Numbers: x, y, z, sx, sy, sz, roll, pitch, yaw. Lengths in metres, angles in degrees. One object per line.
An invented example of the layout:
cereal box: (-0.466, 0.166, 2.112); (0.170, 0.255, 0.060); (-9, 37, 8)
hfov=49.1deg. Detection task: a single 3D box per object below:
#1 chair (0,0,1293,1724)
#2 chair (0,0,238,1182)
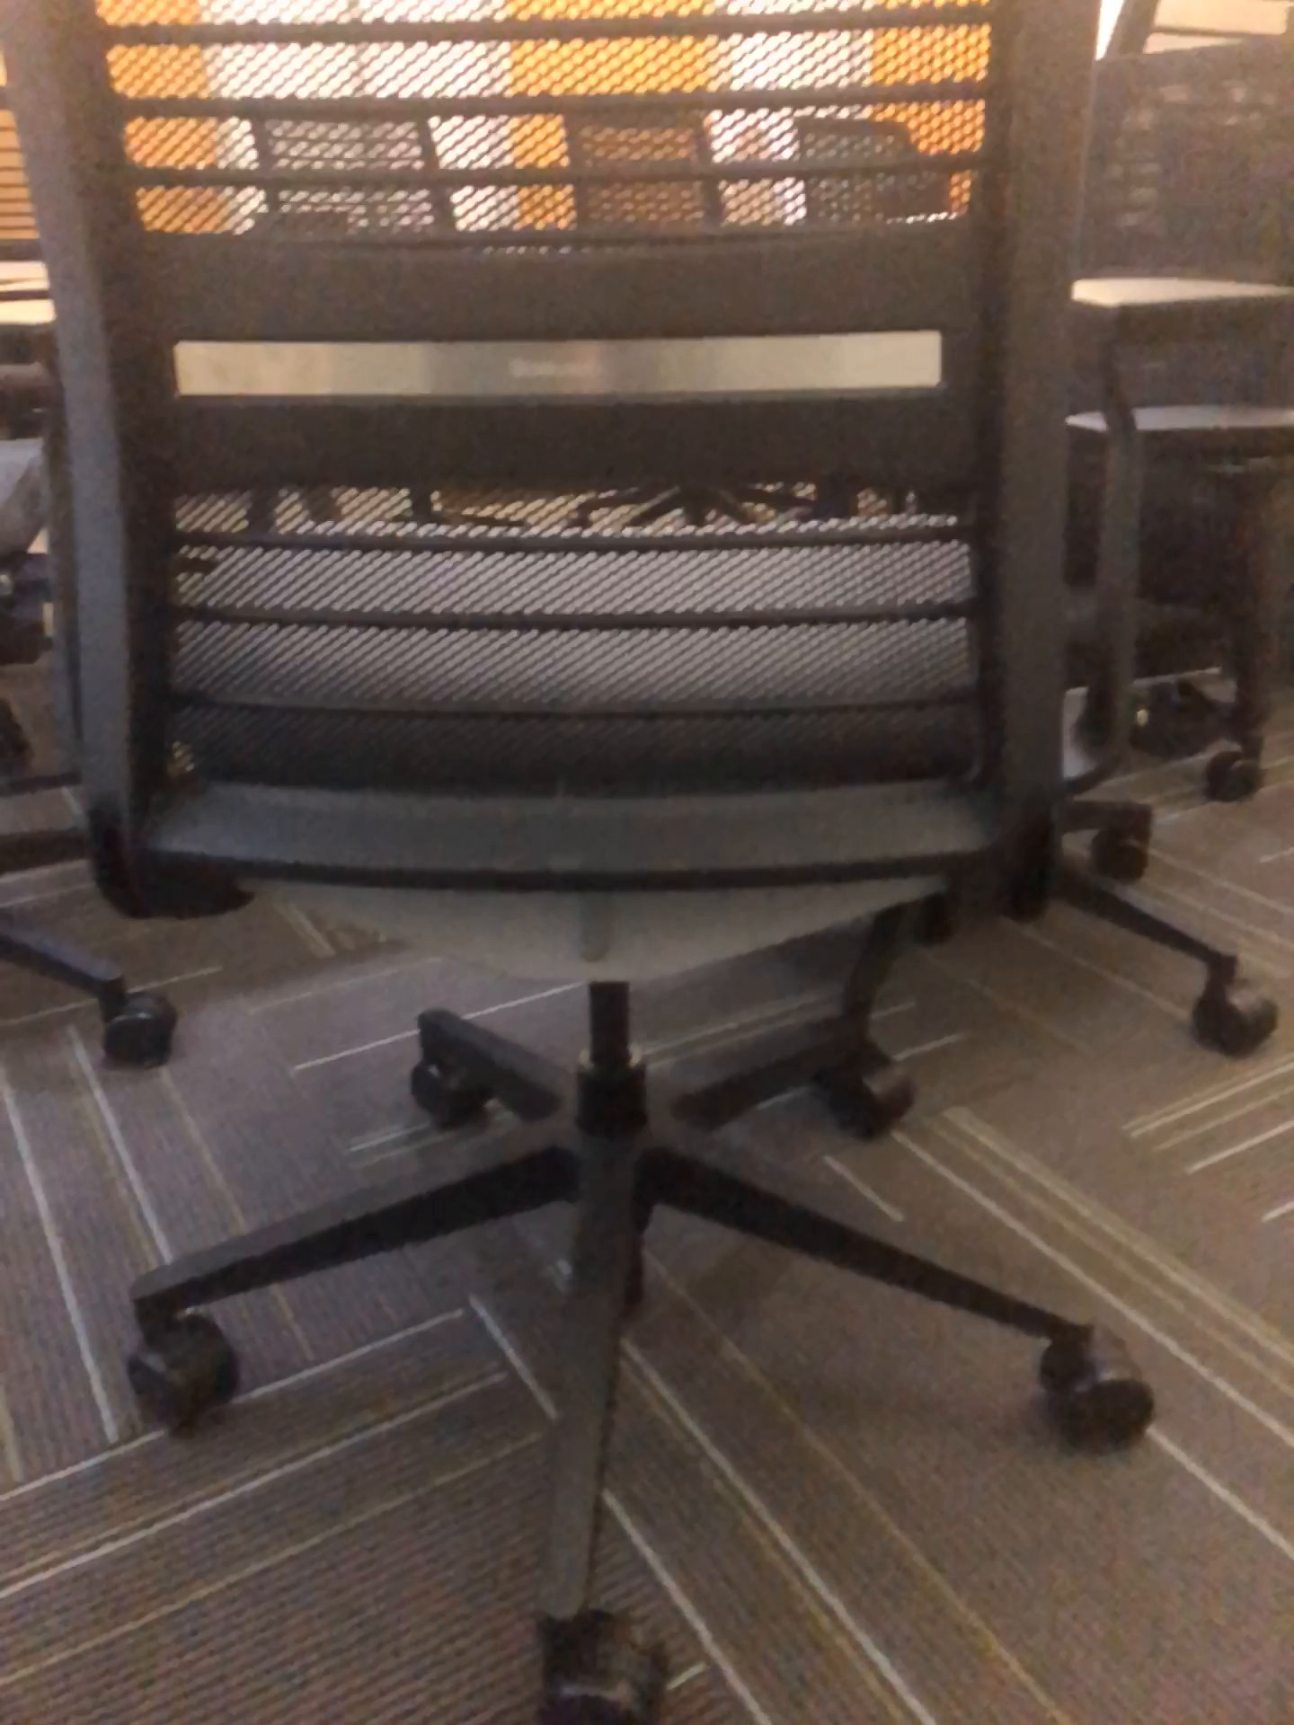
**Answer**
chair: (-0.028, -0.162, 0.837); (0.720, 0.963, 0.715); (-1, 22, 2)
chair: (-0.861, -0.359, 1.350); (0.731, 0.963, 0.725); (-5, 23, -9)
